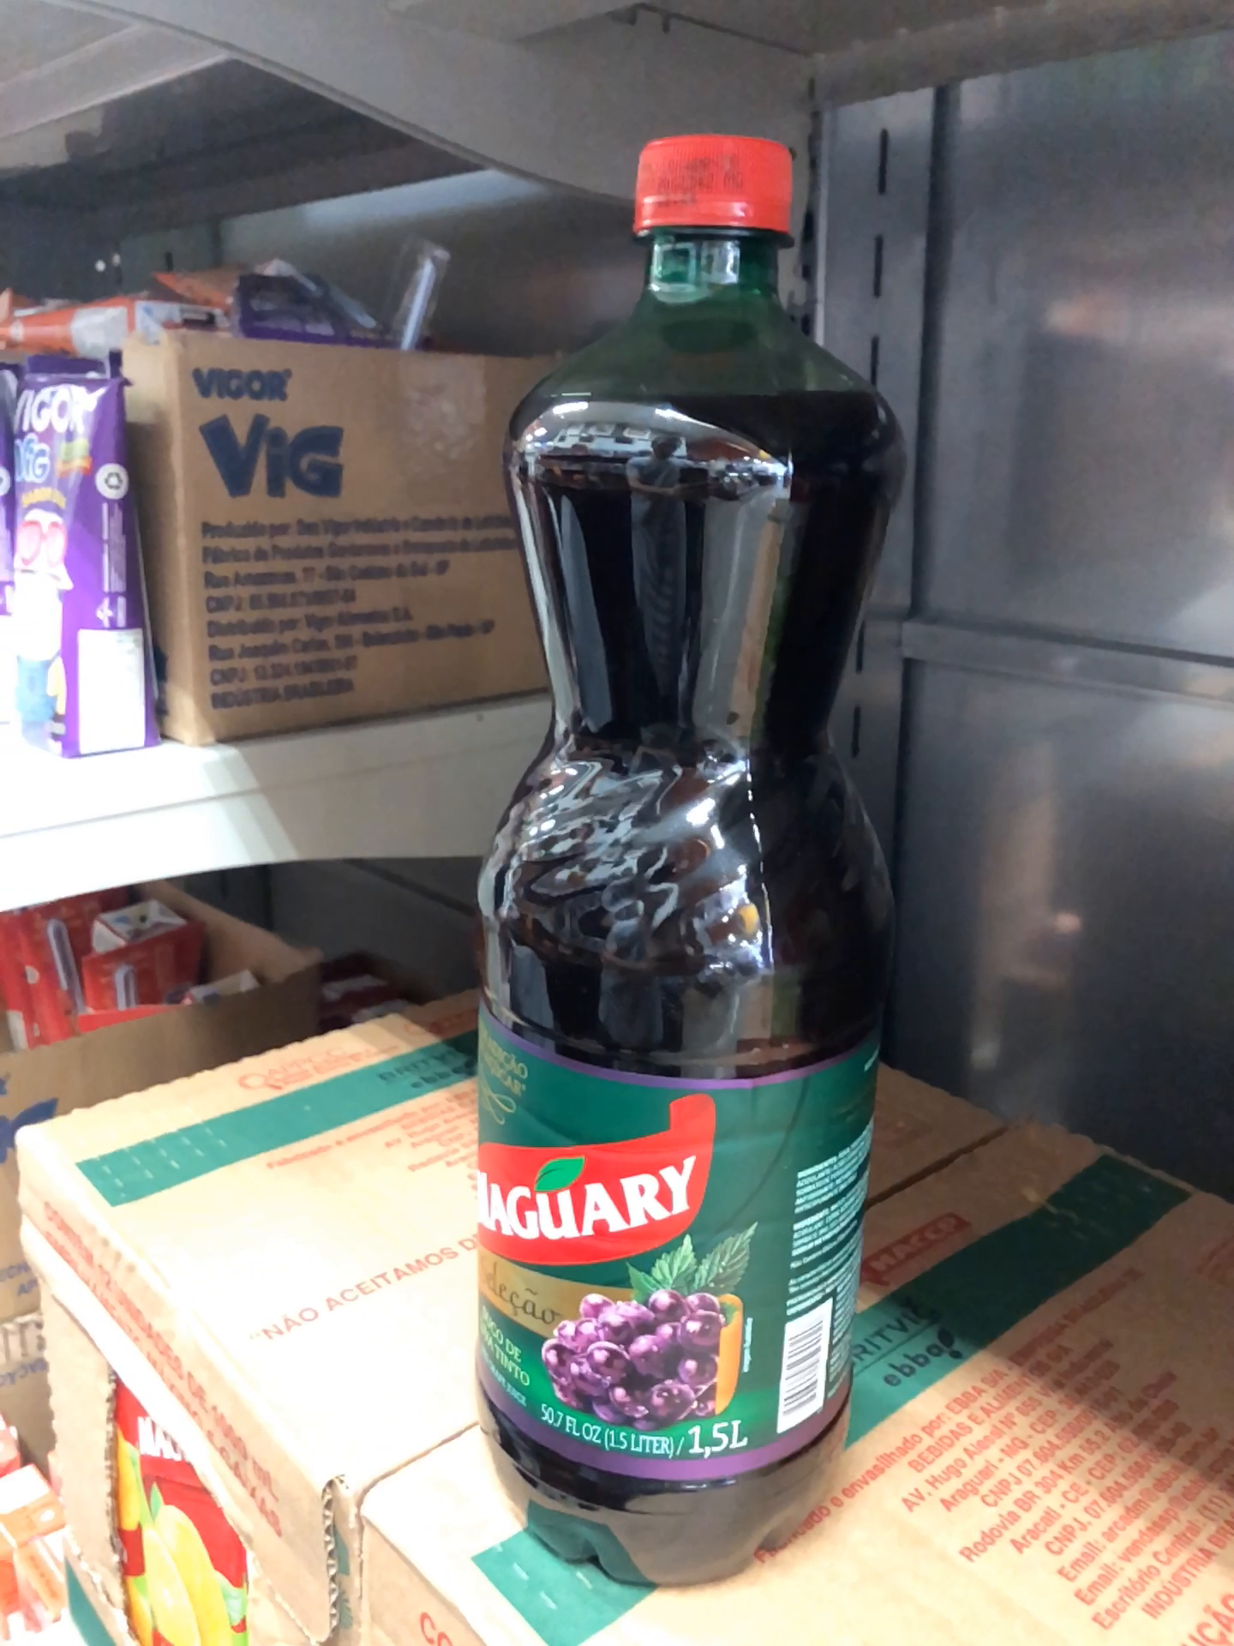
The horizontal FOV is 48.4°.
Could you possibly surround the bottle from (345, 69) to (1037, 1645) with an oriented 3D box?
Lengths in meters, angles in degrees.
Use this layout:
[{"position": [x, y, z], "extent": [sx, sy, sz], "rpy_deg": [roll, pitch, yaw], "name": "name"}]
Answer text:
[{"position": [0.012, 0.013, 0.292], "extent": [0.100, 0.288, 0.080], "rpy_deg": [11, 19, 31], "name": "bottle"}]
